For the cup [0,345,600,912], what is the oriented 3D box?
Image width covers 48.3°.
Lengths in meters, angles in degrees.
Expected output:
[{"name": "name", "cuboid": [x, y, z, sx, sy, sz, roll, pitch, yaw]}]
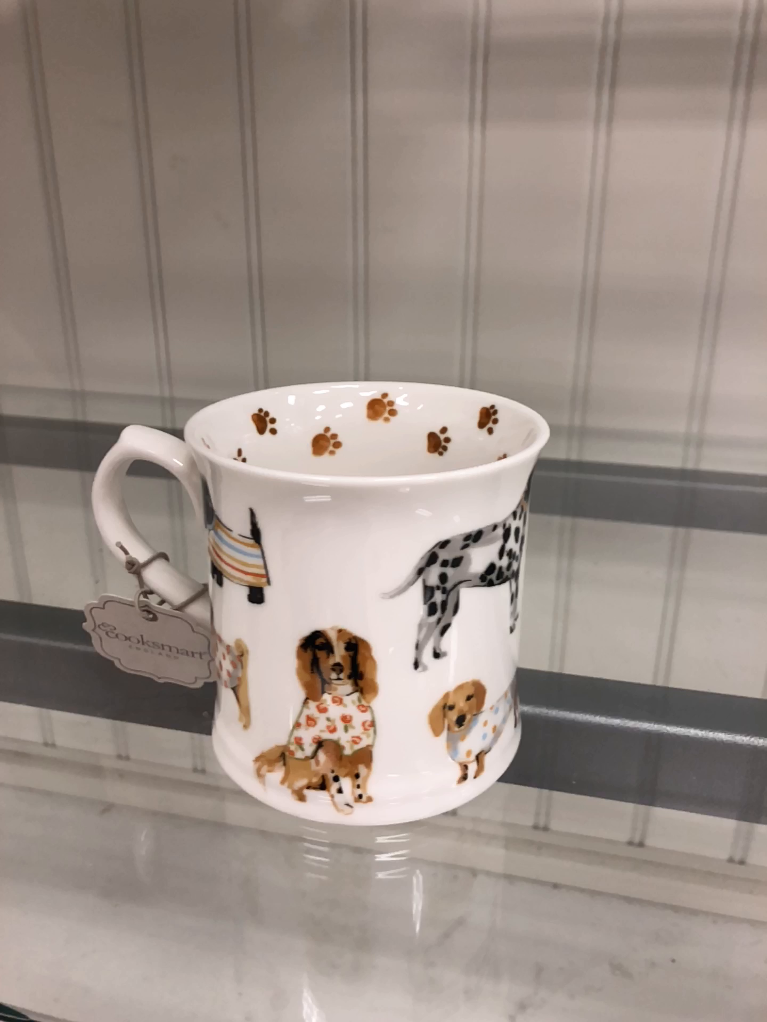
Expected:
[{"name": "cup", "cuboid": [-0.020, 0.014, 0.227, 0.125, 0.089, 0.101, 10, 23, 23]}]
